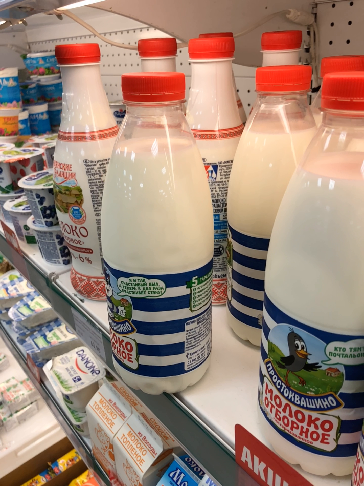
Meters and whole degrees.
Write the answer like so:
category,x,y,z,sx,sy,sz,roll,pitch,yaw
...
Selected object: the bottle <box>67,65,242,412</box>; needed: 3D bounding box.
category,x,y,z,sx,sy,sz,roll,pitch,yaw
bottle,-0.022,-0.007,0.300,0.080,0.228,0.090,-11,25,-27
